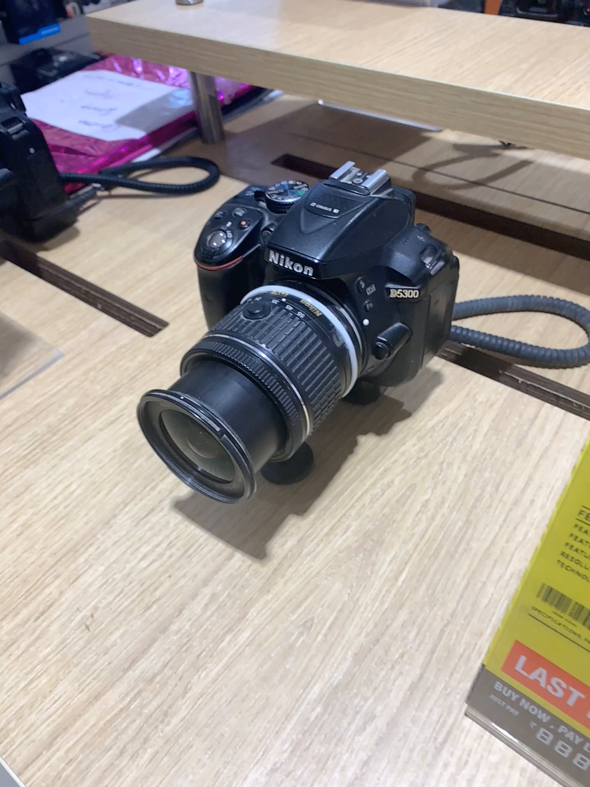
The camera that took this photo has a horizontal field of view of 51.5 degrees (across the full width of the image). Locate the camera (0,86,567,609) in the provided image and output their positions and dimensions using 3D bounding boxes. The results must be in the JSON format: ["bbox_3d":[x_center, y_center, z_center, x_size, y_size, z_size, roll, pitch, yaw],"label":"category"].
[{"bbox_3d":[0.007,-0.045,0.307,0.160,0.120,0.210,24,52,27],"label":"camera"}]
